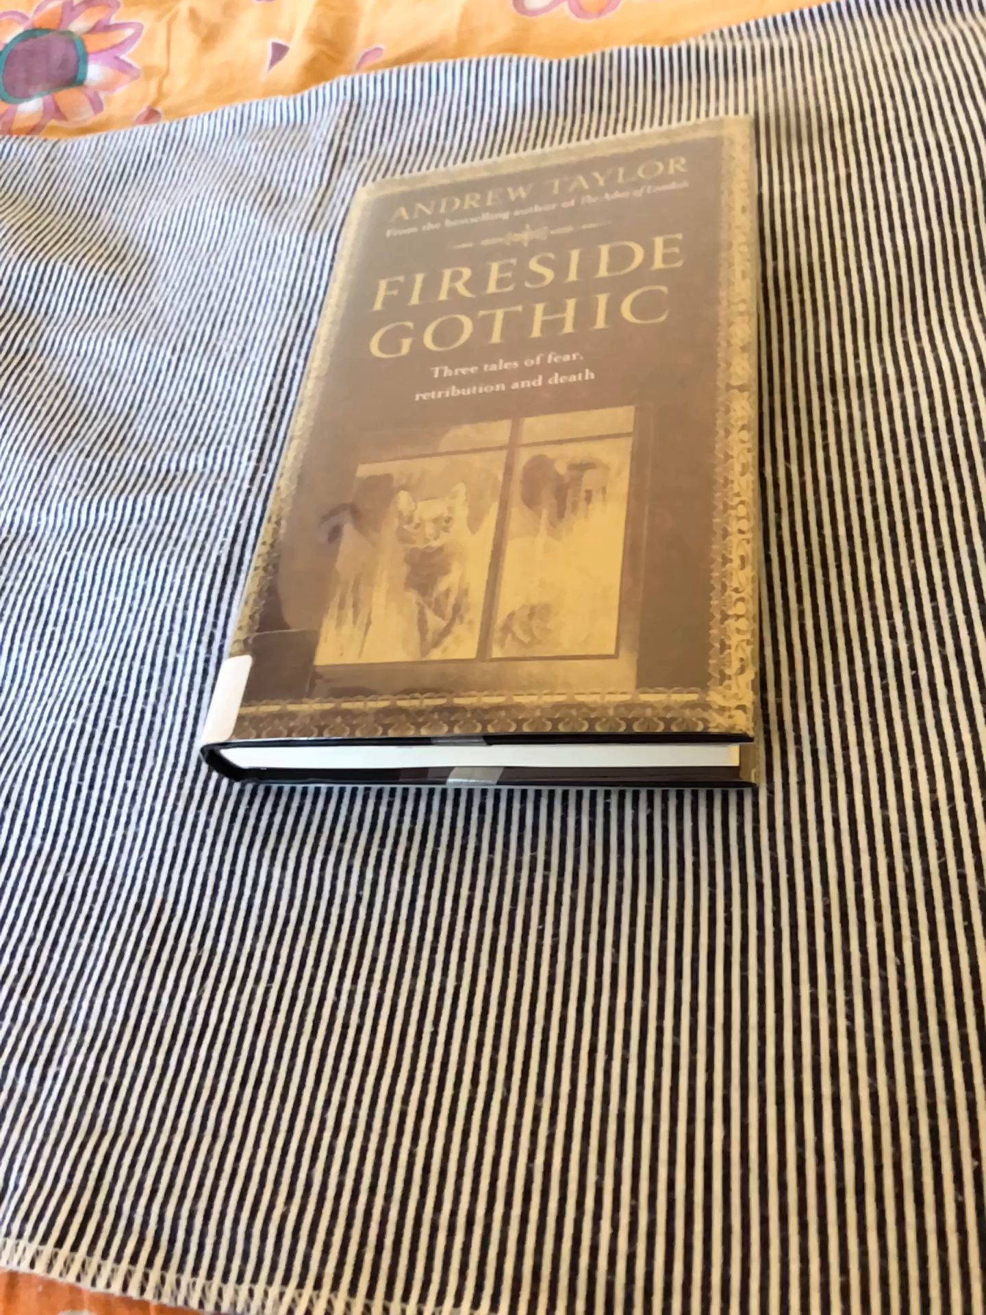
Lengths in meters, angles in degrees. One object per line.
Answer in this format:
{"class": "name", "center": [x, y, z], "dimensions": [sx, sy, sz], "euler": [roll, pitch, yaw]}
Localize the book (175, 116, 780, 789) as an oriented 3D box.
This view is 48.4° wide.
{"class": "book", "center": [0.007, -0.067, 0.311], "dimensions": [0.139, 0.027, 0.217], "euler": [-2, 57, 15]}
